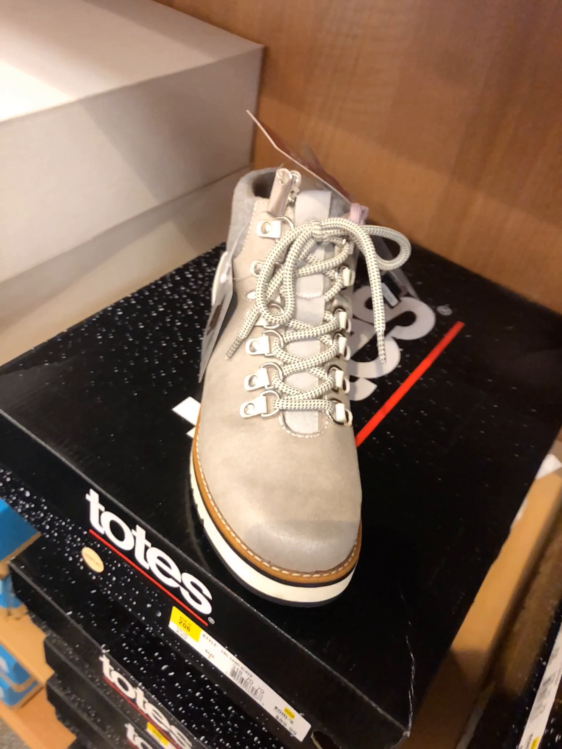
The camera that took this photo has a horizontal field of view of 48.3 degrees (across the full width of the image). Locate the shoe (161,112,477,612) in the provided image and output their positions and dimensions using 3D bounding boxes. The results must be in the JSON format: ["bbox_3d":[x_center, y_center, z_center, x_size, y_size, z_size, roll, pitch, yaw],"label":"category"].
[{"bbox_3d":[-0.005,-0.018,0.326,0.099,0.134,0.229,3,43,-10],"label":"shoe"}]
